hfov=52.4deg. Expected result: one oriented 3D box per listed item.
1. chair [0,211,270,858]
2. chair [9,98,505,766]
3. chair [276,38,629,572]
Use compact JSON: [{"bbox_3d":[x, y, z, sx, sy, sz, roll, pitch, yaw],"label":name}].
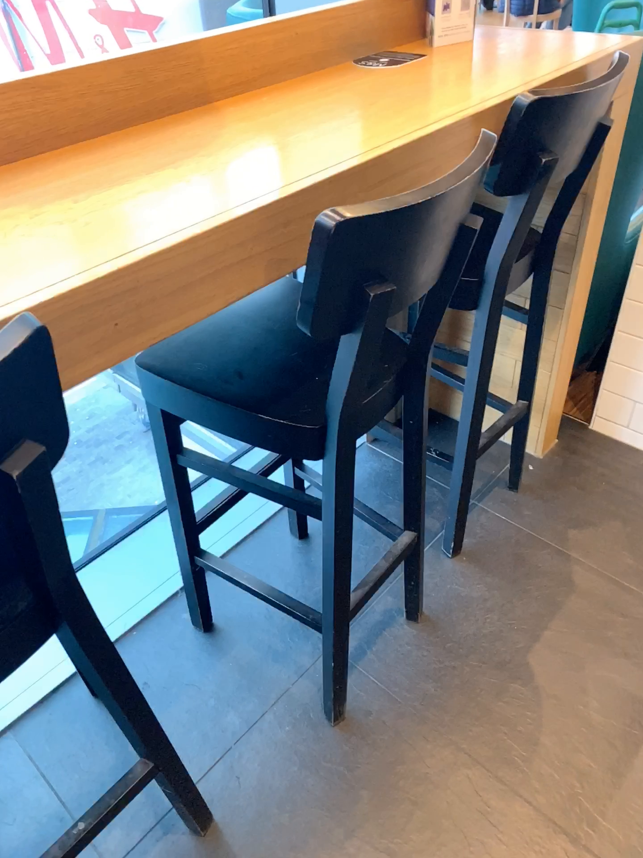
[{"bbox_3d":[-0.423,0.319,0.848,0.462,1.001,0.394,27,48,33],"label":"chair"},{"bbox_3d":[-0.046,0.033,1.155,0.462,1.001,0.455,23,46,31],"label":"chair"},{"bbox_3d":[0.262,-0.251,1.460,0.462,1.001,0.425,25,47,32],"label":"chair"}]
